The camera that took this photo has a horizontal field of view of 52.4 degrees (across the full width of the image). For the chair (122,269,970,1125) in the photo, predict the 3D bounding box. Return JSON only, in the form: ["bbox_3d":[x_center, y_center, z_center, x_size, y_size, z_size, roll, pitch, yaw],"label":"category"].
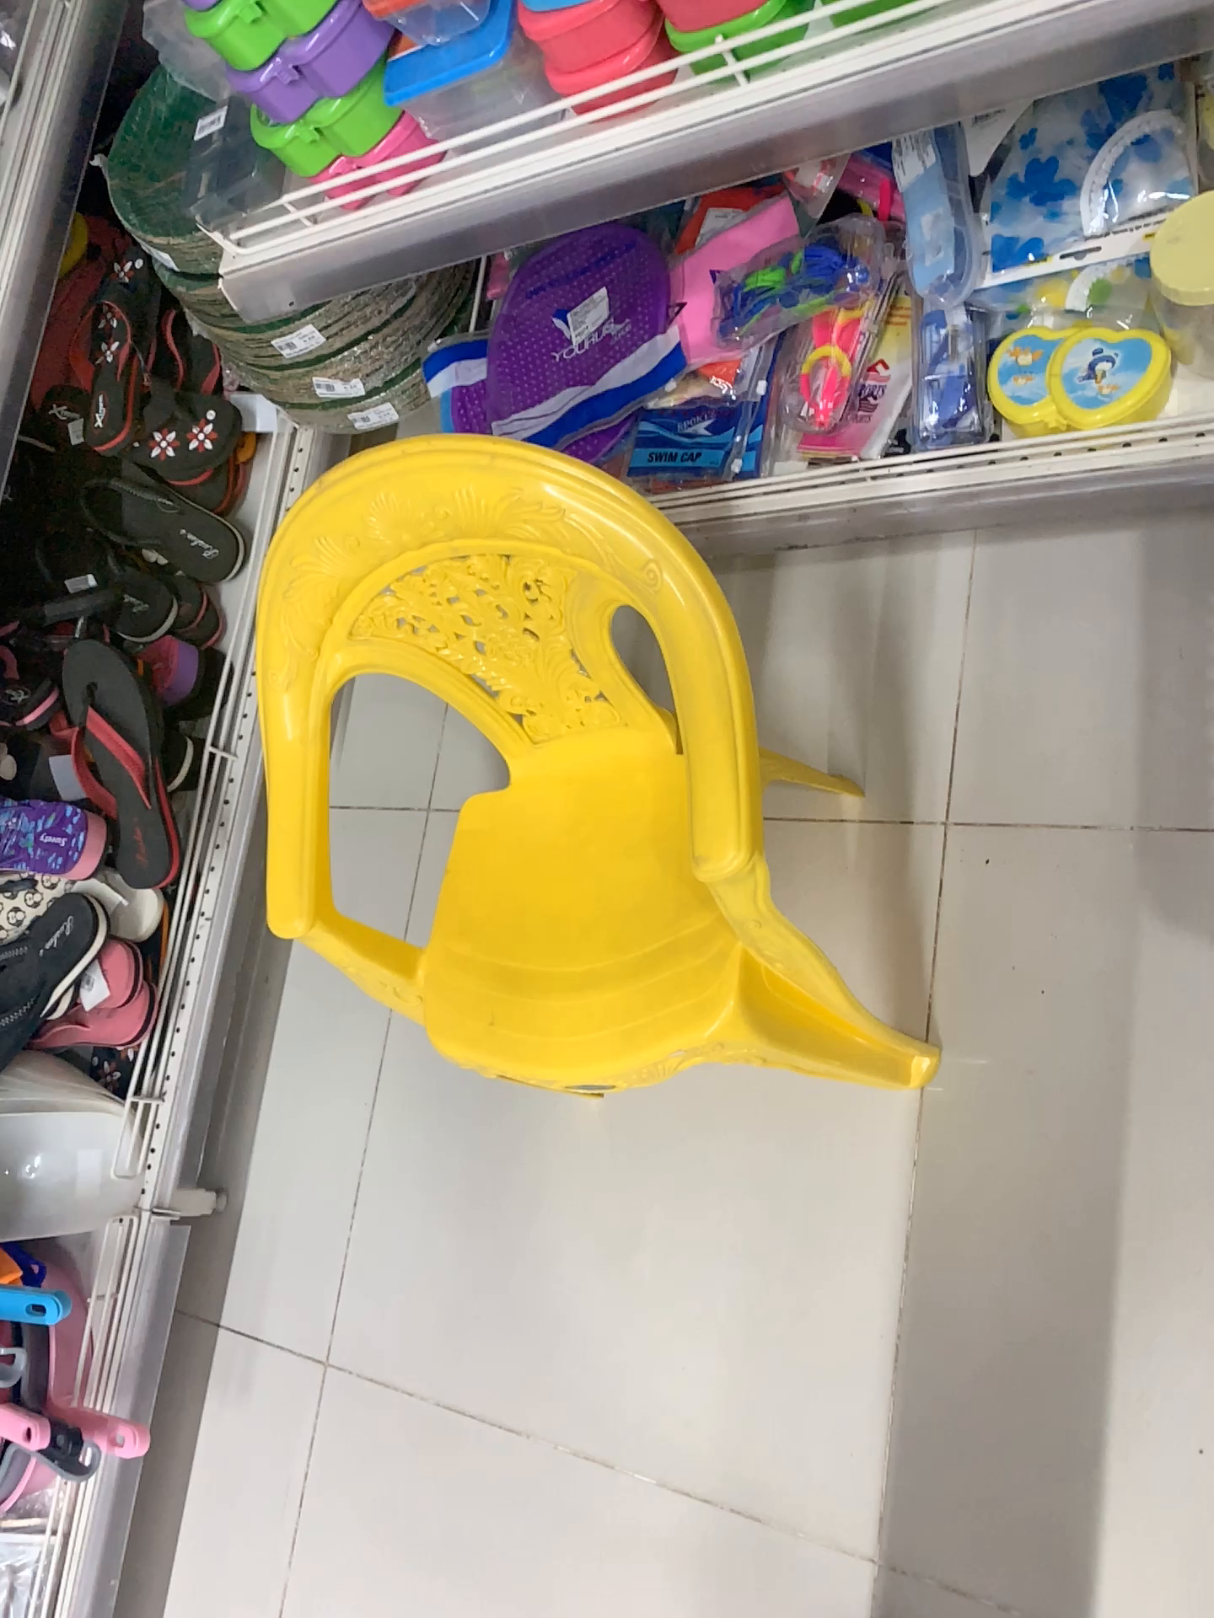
[{"bbox_3d":[-0.015,-0.007,0.938,0.422,0.448,0.460,-9,71,30],"label":"chair"}]
